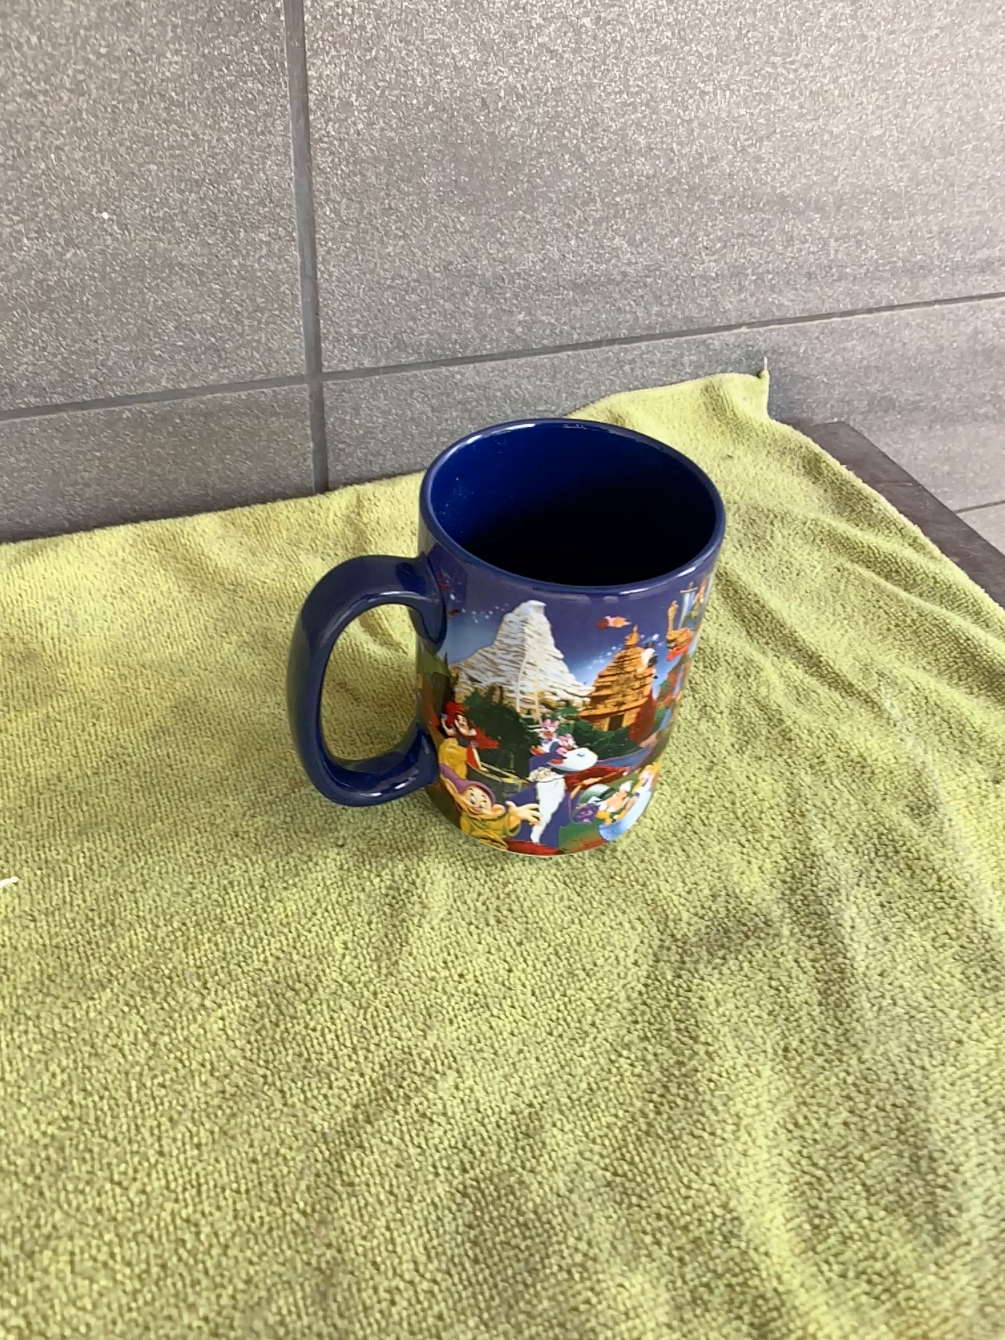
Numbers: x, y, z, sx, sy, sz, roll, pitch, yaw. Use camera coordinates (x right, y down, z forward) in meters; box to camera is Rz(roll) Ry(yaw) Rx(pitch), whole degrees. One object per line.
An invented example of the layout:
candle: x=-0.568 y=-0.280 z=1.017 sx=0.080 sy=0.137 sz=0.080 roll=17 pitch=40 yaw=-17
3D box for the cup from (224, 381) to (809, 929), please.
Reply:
cup: x=-0.004 y=-0.008 z=0.306 sx=0.130 sy=0.110 sz=0.090 roll=-10 pitch=45 yaw=-16
